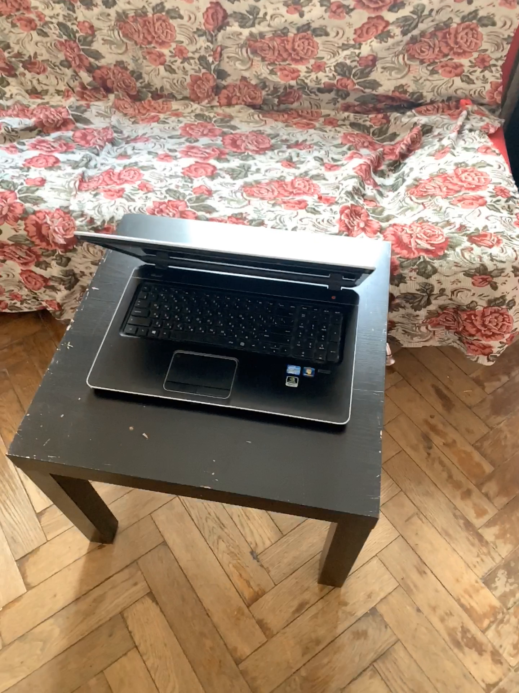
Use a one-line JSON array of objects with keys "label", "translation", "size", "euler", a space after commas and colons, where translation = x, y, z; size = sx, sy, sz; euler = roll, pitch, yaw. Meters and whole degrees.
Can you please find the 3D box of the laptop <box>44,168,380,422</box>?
[{"label": "laptop", "translation": [-0.046, -0.080, 0.792], "size": [0.404, 0.201, 0.258], "euler": [8, 55, 6]}]
